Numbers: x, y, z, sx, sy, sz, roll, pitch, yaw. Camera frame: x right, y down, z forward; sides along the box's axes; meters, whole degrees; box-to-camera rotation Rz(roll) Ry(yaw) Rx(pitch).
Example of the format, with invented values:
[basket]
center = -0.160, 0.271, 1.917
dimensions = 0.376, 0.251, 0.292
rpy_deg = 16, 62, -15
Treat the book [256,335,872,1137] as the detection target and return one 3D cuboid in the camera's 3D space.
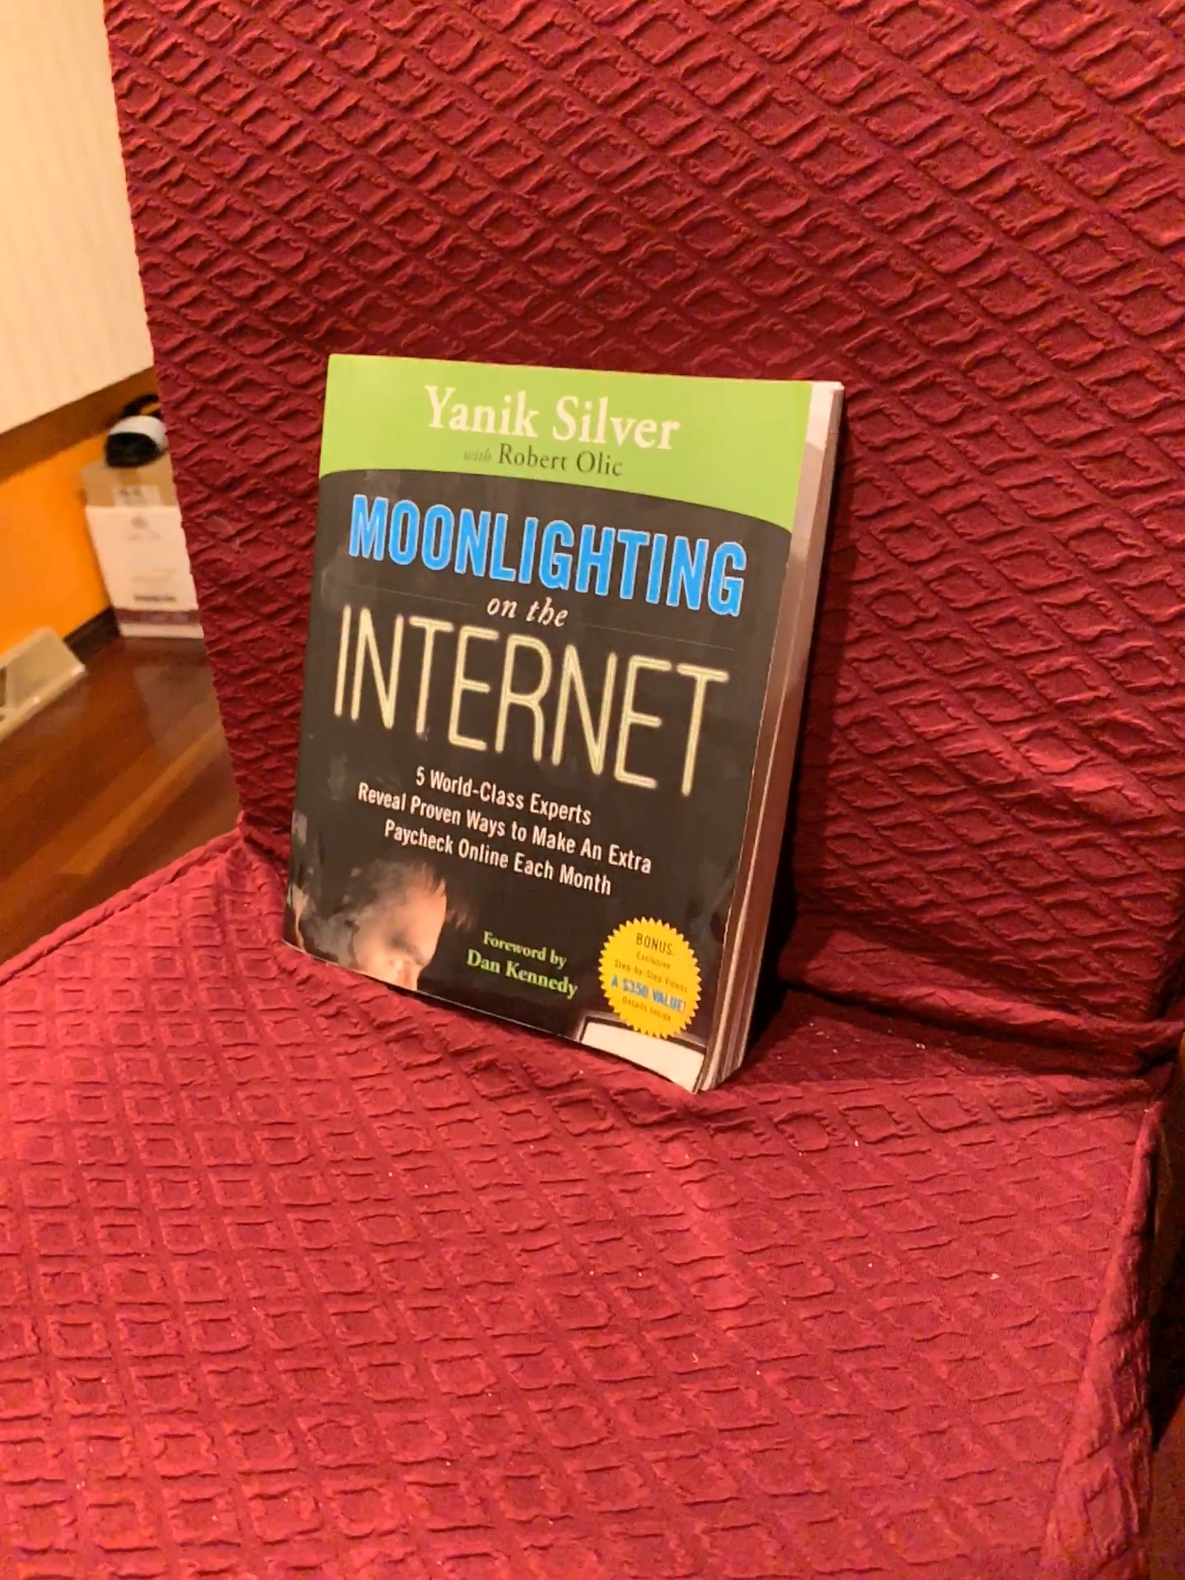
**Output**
[book]
center = -0.023, -0.029, 0.429
dimensions = 0.200, 0.239, 0.040
rpy_deg = 13, 13, 28
